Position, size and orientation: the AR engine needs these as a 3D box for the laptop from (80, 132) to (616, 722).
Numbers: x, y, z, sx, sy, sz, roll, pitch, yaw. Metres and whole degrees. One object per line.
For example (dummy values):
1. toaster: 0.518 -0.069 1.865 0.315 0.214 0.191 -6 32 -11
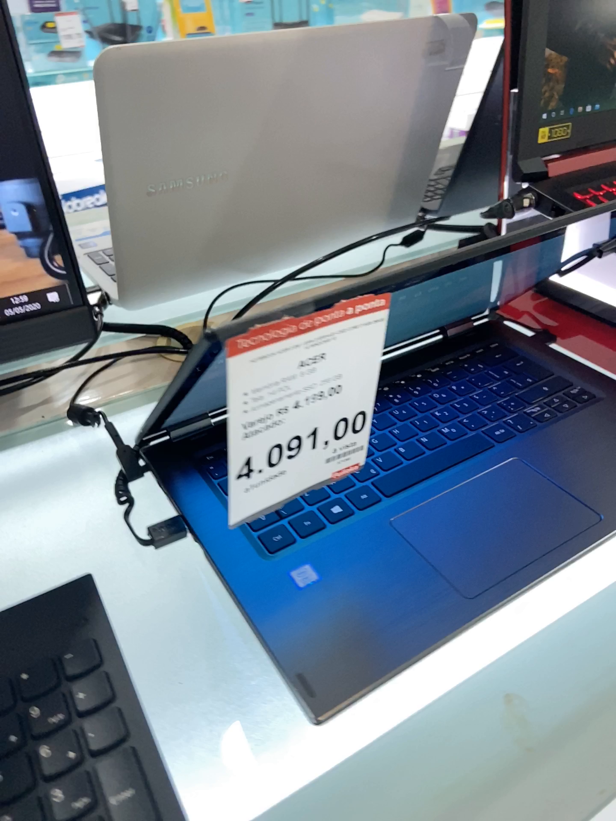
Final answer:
1. laptop: 0.080 -0.039 0.372 0.328 0.154 0.219 -21 39 -25
